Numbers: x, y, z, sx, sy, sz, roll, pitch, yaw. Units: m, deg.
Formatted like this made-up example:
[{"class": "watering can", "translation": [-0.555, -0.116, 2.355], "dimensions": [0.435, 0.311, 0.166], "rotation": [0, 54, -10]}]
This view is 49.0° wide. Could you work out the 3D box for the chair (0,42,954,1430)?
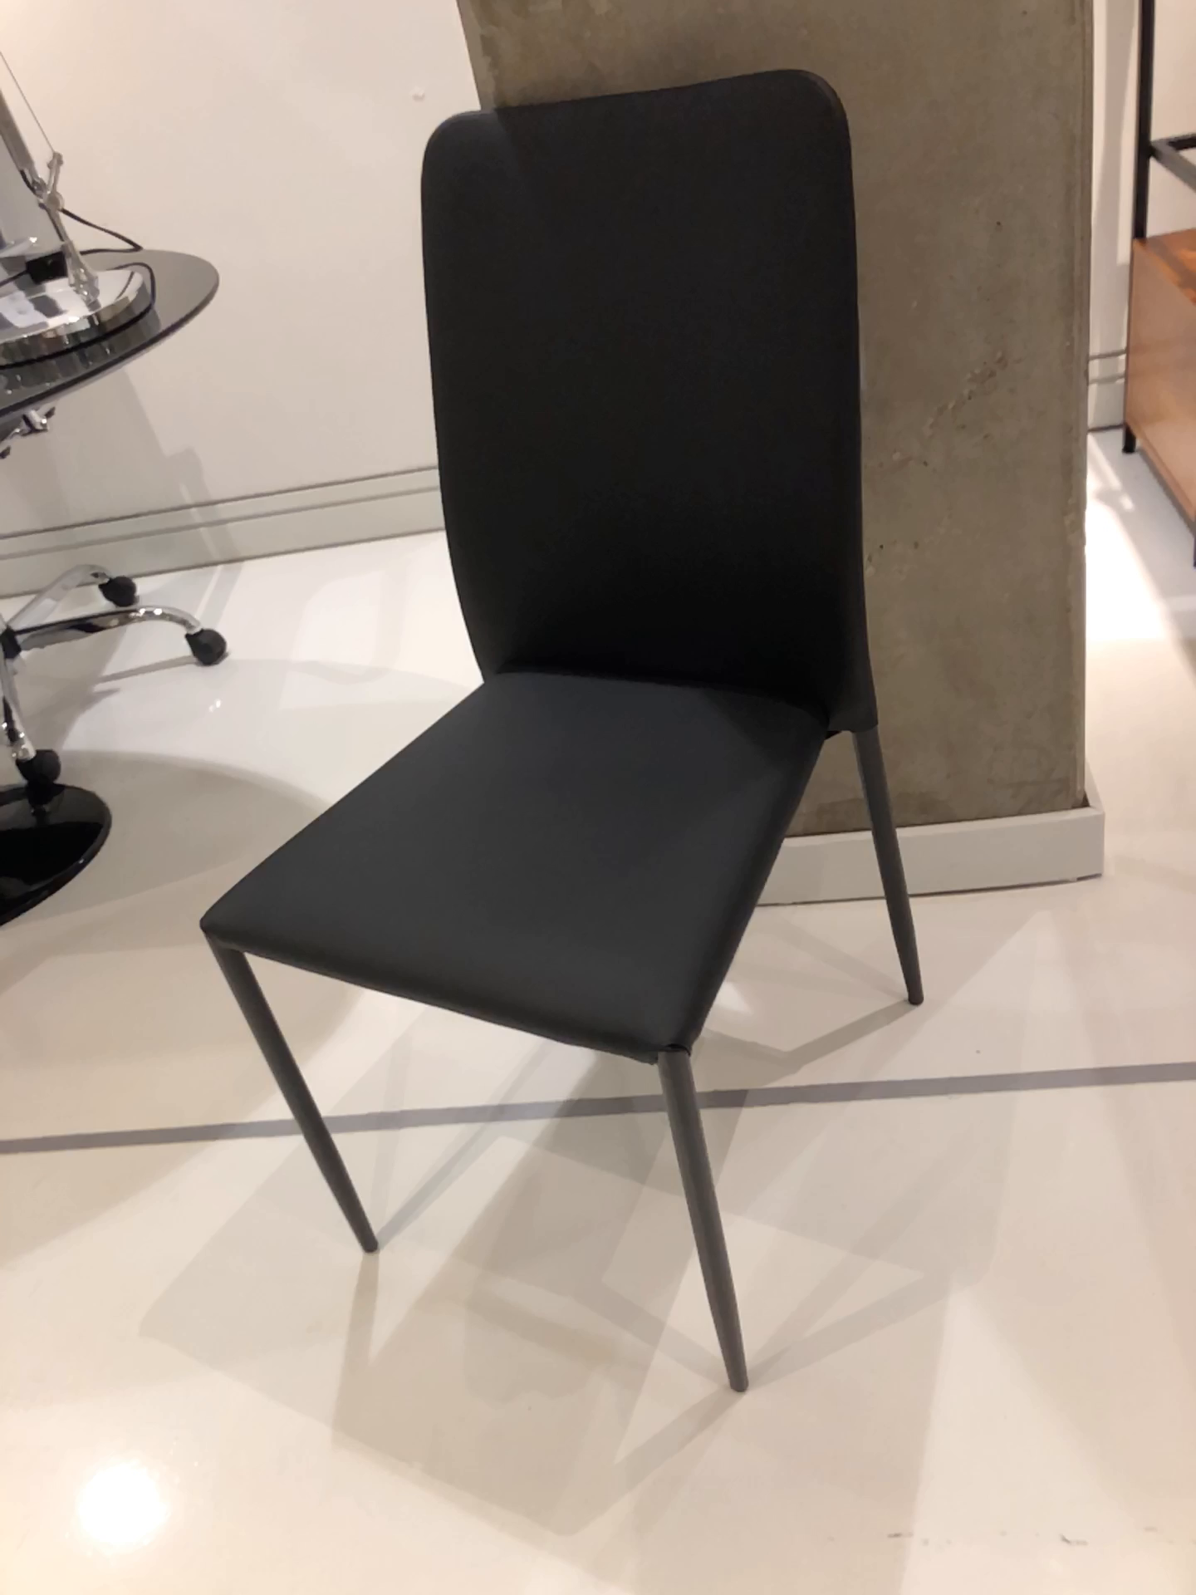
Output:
[{"class": "chair", "translation": [-0.040, -0.038, 1.092], "dimensions": [0.471, 0.884, 0.543], "rotation": [10, 42, 30]}]
